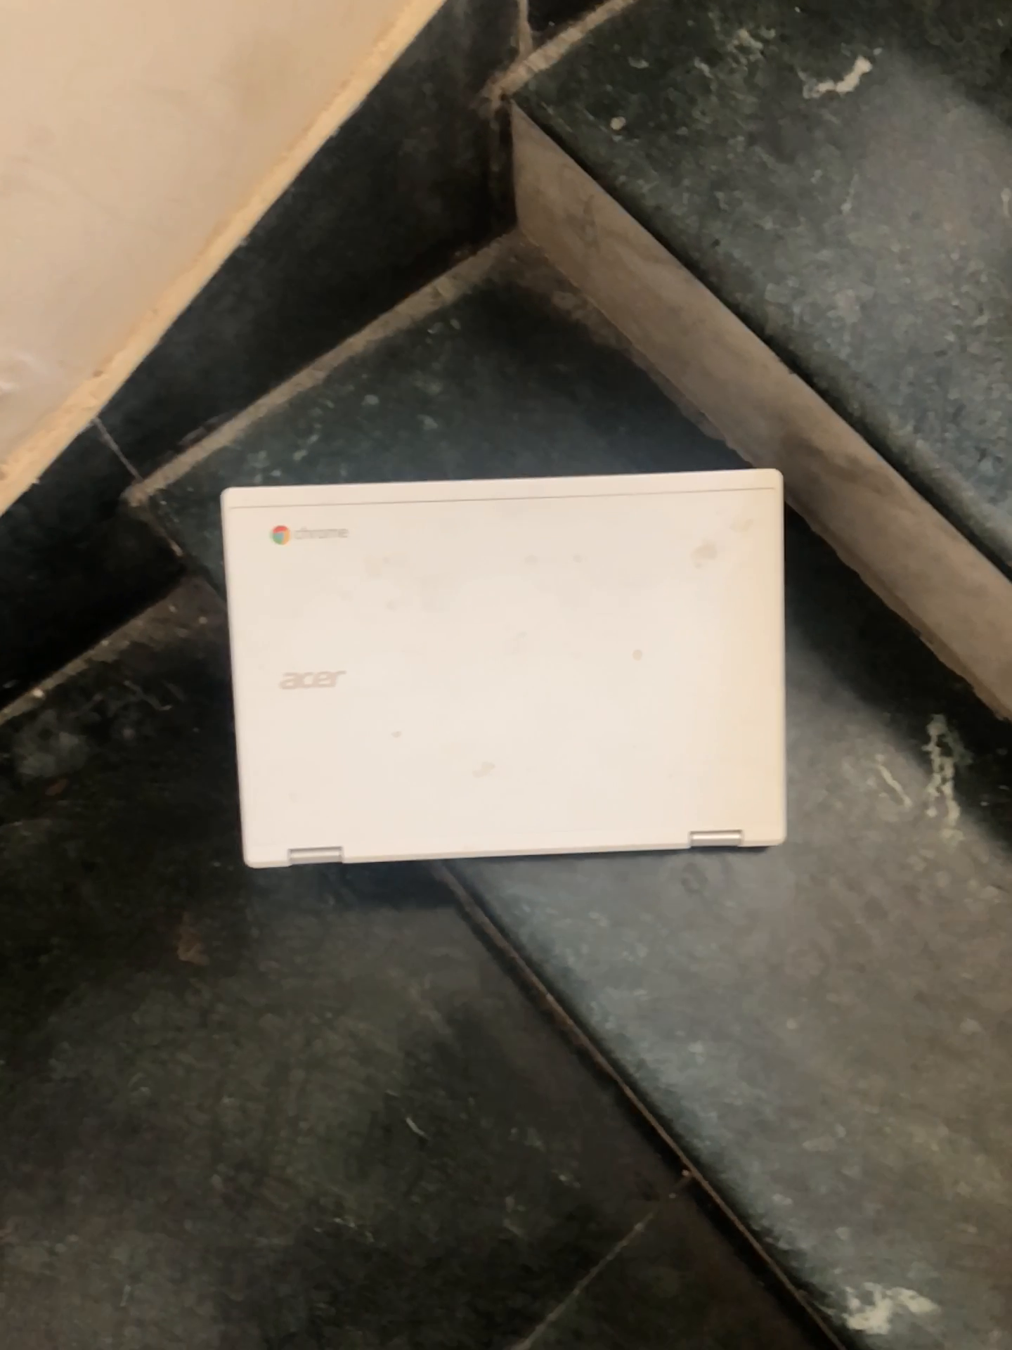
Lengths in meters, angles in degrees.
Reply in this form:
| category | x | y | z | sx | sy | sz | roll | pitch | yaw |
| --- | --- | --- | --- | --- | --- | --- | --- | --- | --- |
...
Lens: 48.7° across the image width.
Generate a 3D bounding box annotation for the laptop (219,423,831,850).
| category | x | y | z | sx | sy | sz | roll | pitch | yaw |
| --- | --- | --- | --- | --- | --- | --- | --- | --- | --- |
| laptop | 0.004 | -0.017 | 0.583 | 0.282 | 0.091 | 0.190 | -2 | 76 | -3 |
